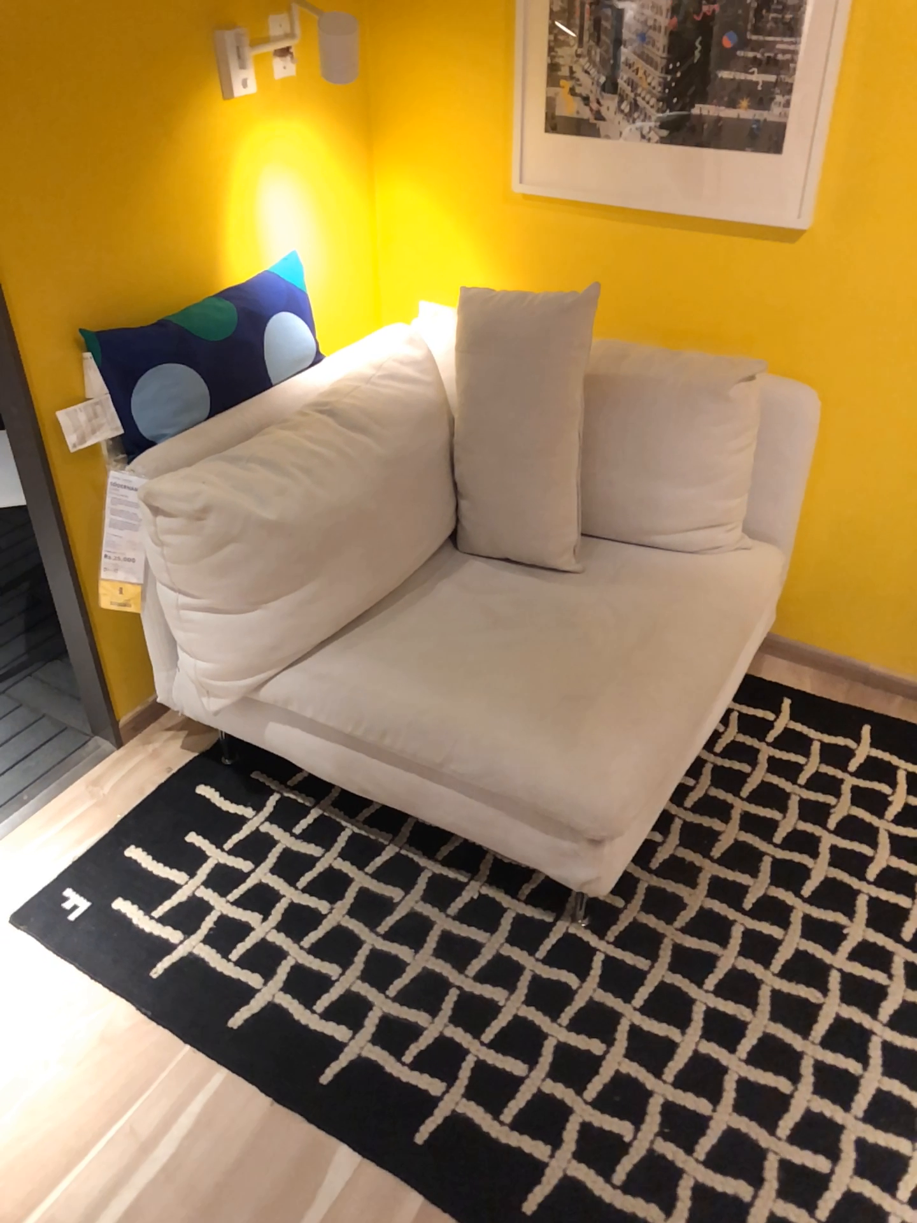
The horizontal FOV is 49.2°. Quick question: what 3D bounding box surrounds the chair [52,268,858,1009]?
[{"bbox_3d":[0.068,-0.096,1.998,1.012,0.755,1.115,18,39,26],"label":"chair"}]
